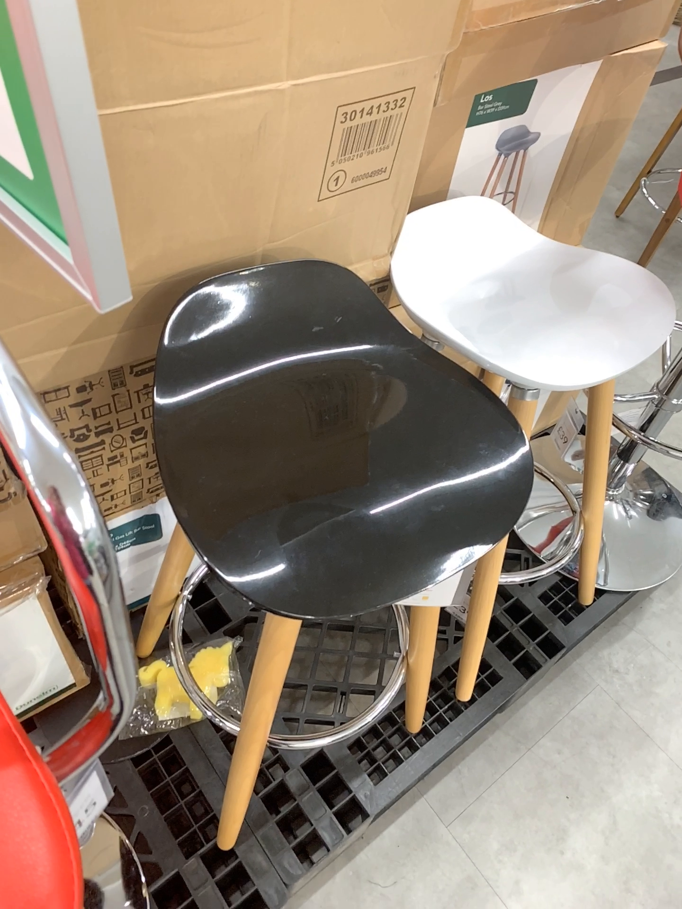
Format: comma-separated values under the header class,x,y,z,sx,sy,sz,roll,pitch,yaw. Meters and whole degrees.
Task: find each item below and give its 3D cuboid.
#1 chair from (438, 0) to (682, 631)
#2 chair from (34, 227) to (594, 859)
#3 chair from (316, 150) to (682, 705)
class,x,y,z,sx,sy,sz,roll,pitch,yaw
chair,0.607,-0.224,1.196,0.476,0.979,0.478,-26,58,-27
chair,-0.078,0.159,0.924,0.385,0.722,0.398,-20,56,-24
chair,0.268,-0.010,1.122,0.385,0.722,0.418,-26,58,-27
